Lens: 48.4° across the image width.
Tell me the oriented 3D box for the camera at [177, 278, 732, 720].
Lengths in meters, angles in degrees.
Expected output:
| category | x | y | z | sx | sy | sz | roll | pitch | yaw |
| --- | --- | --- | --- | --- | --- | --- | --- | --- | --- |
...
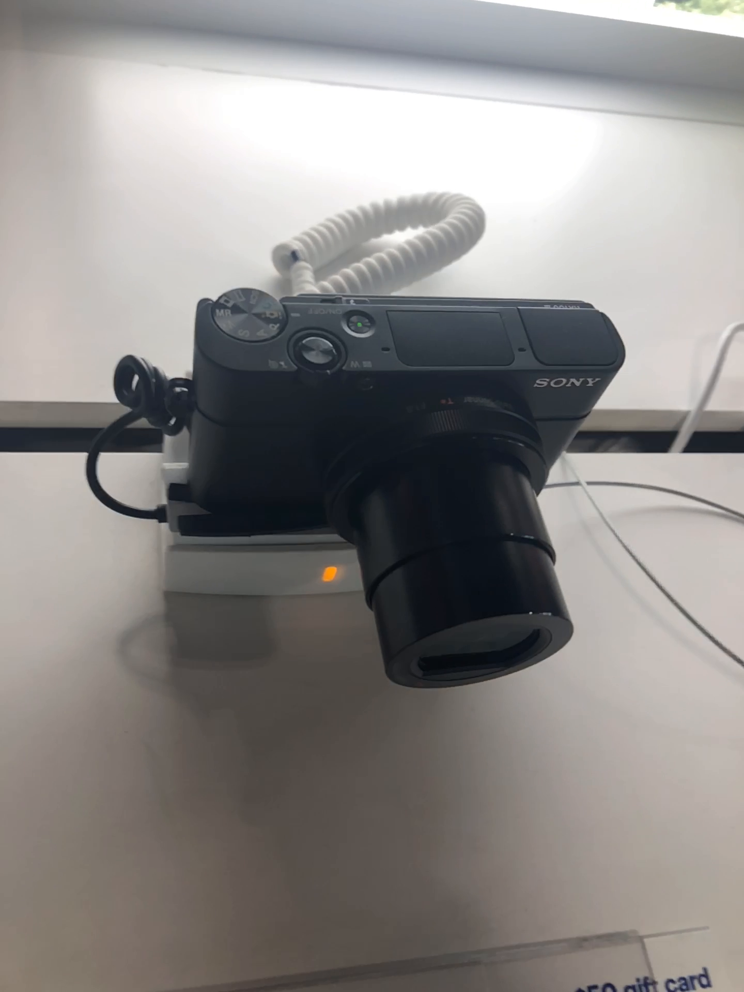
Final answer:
| category | x | y | z | sx | sy | sz | roll | pitch | yaw |
| --- | --- | --- | --- | --- | --- | --- | --- | --- | --- |
| camera | 0.008 | 0.002 | 0.198 | 0.105 | 0.074 | 0.070 | -1 | 55 | -13 |
